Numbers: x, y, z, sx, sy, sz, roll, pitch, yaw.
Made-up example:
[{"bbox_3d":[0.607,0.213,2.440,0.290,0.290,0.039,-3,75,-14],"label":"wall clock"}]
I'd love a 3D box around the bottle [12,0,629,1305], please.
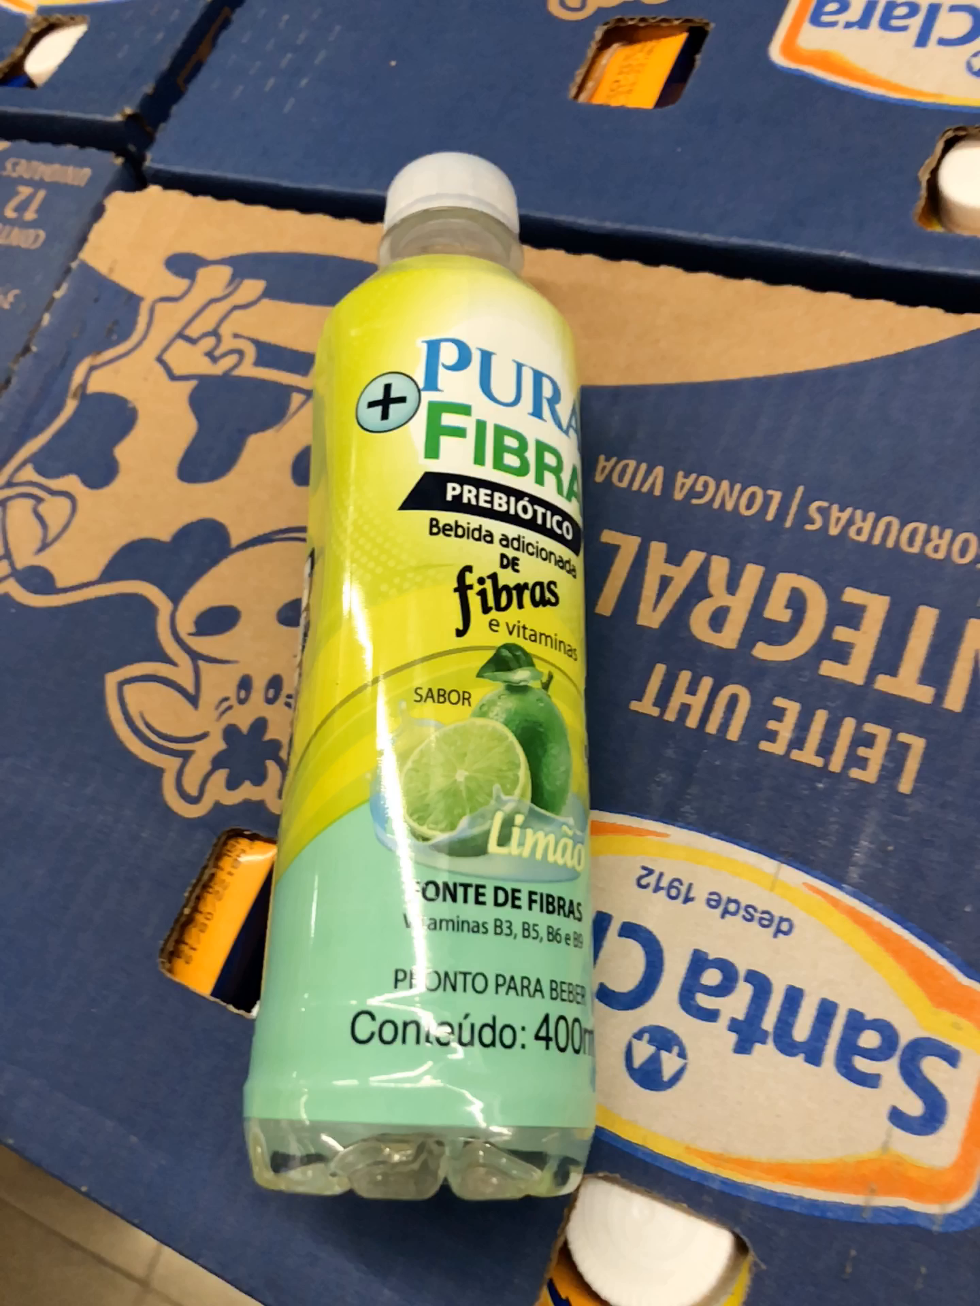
[{"bbox_3d":[-0.014,-0.022,0.214,0.070,0.060,0.251,-5,62,13],"label":"bottle"}]
